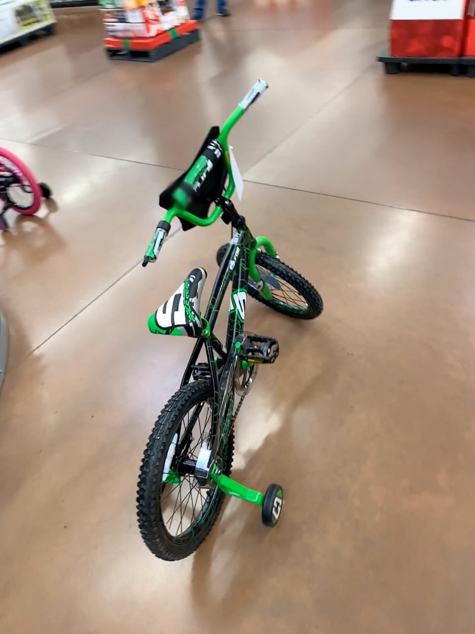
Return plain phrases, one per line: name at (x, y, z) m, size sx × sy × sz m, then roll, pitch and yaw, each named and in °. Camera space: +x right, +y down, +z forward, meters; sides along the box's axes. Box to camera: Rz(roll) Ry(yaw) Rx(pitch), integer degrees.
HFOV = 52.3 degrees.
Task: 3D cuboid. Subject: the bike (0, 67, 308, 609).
bike at (-0.159, -0.009, 1.345) m, size 0.636 × 0.914 × 1.055 m, roll -2°, pitch 43°, yaw 13°
